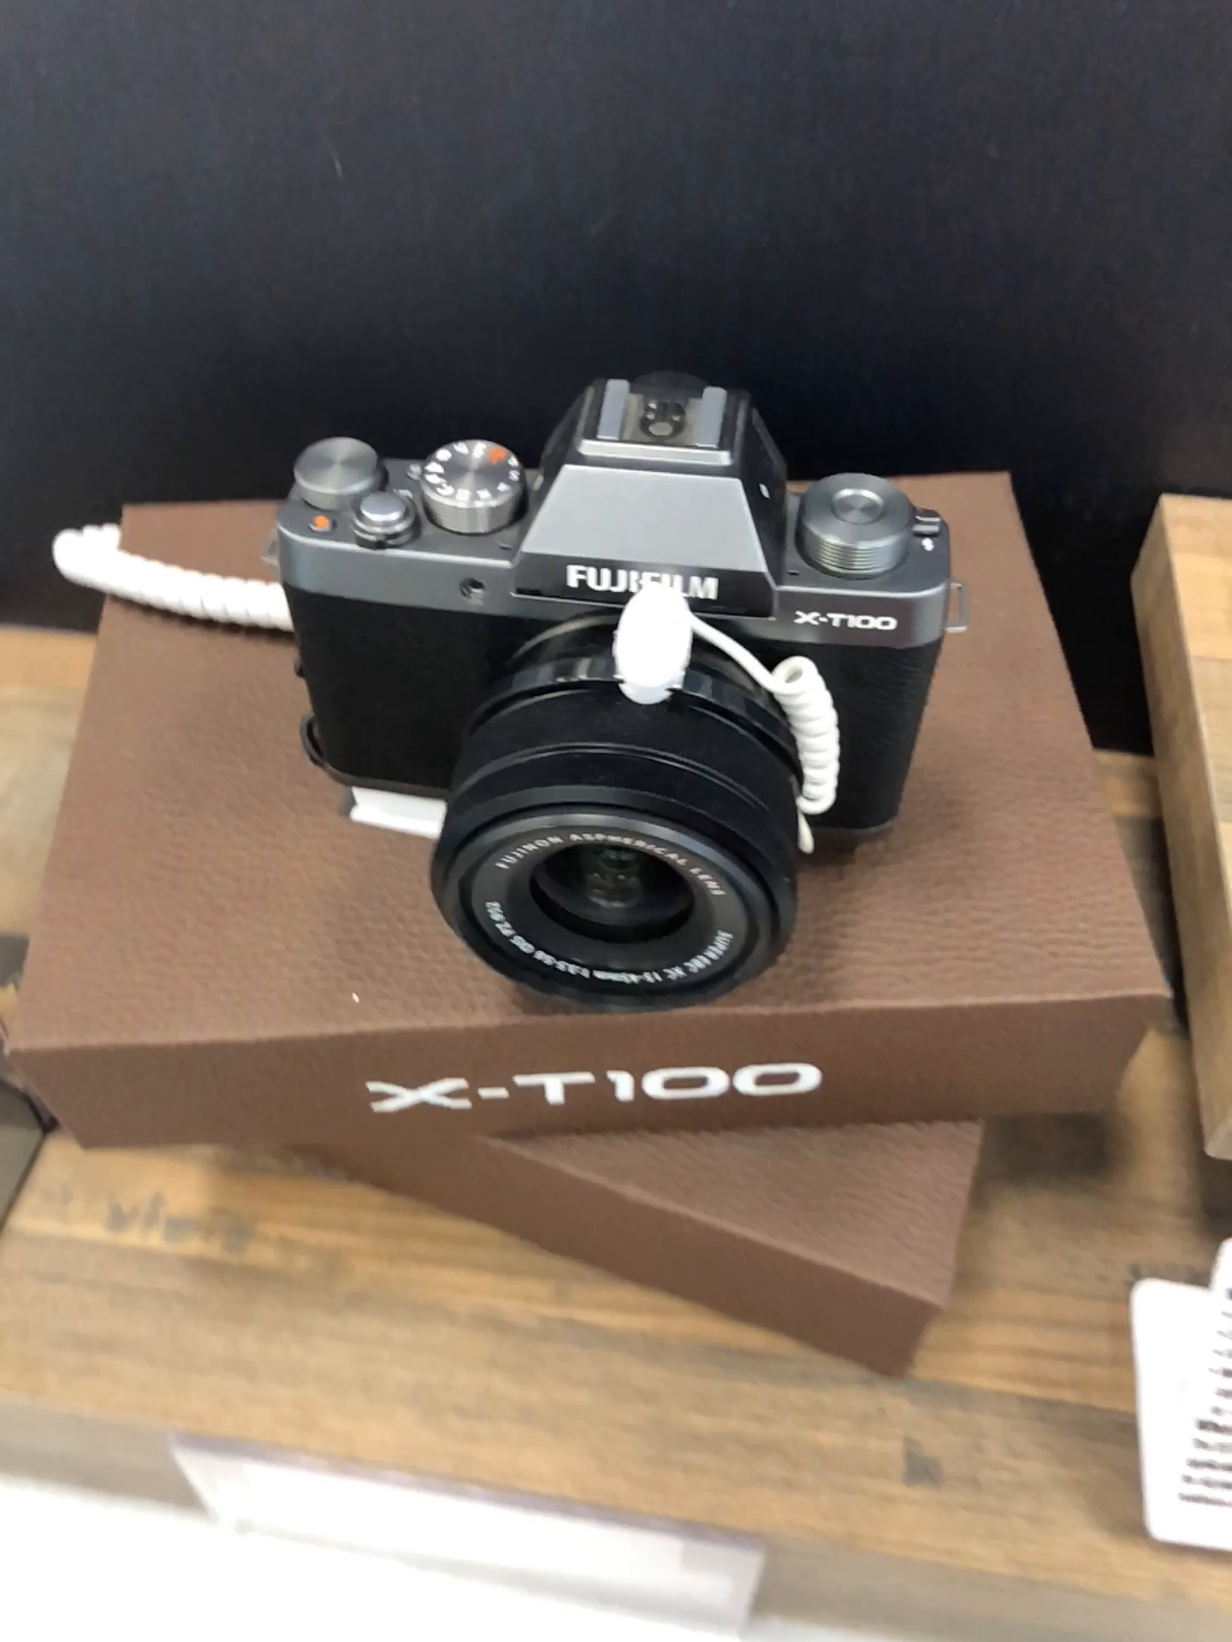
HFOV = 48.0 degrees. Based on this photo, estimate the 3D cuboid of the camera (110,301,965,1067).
[{"bbox_3d":[-0.006,-0.025,0.254,0.120,0.090,0.090,7,51,6],"label":"camera"}]
